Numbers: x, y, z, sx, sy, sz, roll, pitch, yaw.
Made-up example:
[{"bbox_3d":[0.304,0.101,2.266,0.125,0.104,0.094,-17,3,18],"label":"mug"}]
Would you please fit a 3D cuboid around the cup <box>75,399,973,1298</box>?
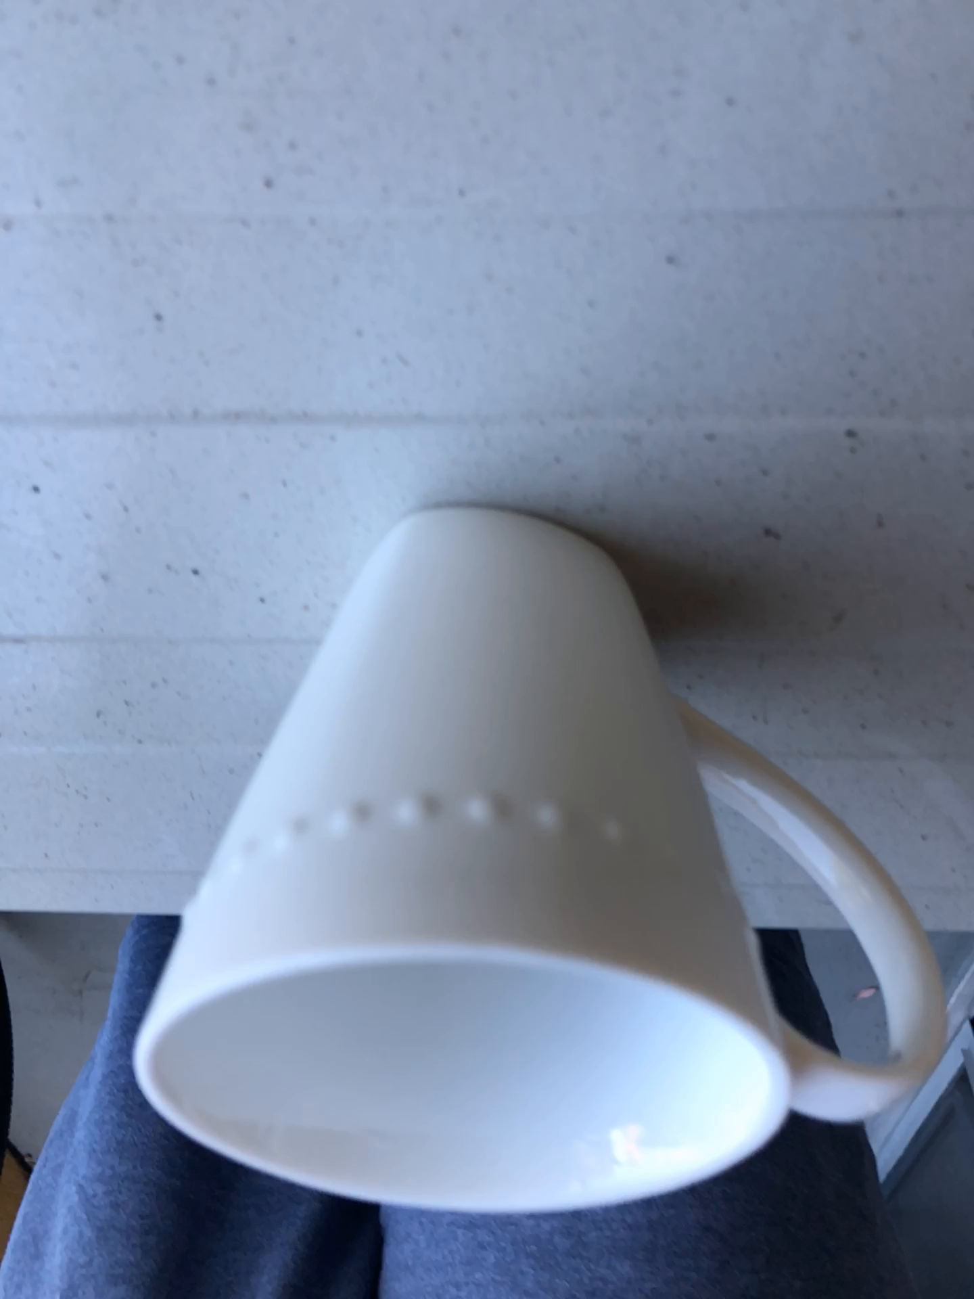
[{"bbox_3d":[0.020,0.038,0.186,0.140,0.099,0.101,7,135,-6],"label":"cup"}]
